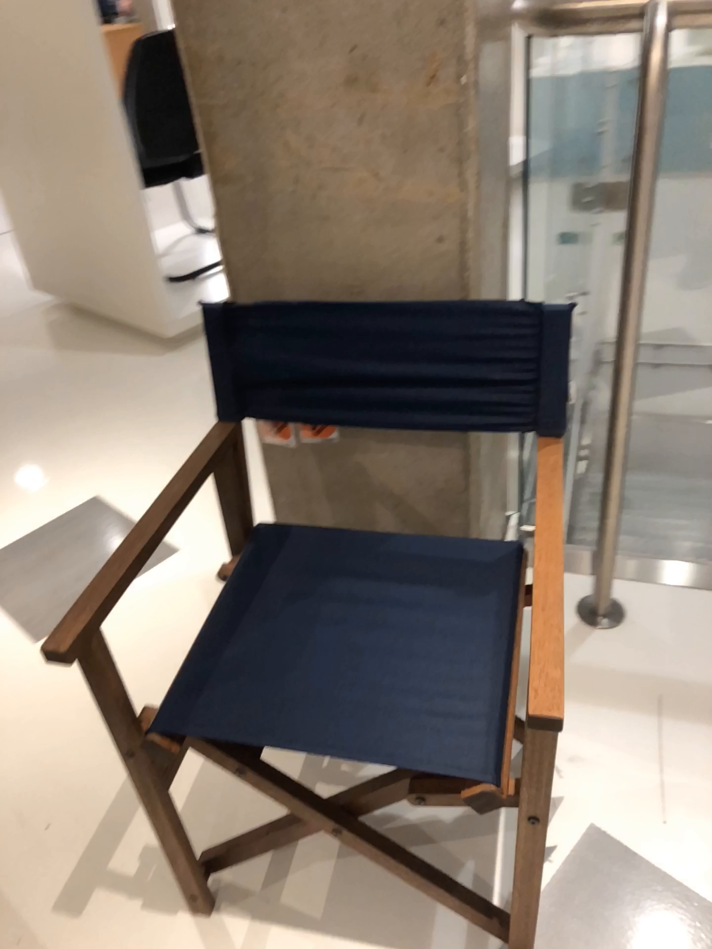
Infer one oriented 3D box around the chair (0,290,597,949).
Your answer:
[{"bbox_3d":[-0.003,0.214,1.083,0.581,0.774,0.504,4,36,16],"label":"chair"}]
